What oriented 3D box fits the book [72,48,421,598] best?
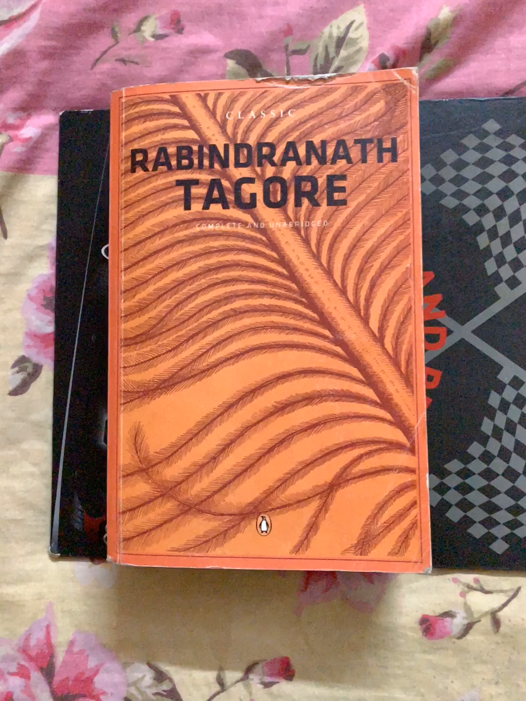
[{"bbox_3d":[-0.004,-0.013,0.240,0.130,0.060,0.210,0,85,4],"label":"book"}]
